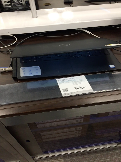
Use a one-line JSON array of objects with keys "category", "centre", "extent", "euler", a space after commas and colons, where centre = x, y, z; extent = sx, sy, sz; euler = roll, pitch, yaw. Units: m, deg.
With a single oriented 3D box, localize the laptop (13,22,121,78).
[{"category": "laptop", "centre": [0.030, -0.134, 0.666], "extent": [0.428, 0.082, 0.206], "euler": [-6, 51, -1]}]
